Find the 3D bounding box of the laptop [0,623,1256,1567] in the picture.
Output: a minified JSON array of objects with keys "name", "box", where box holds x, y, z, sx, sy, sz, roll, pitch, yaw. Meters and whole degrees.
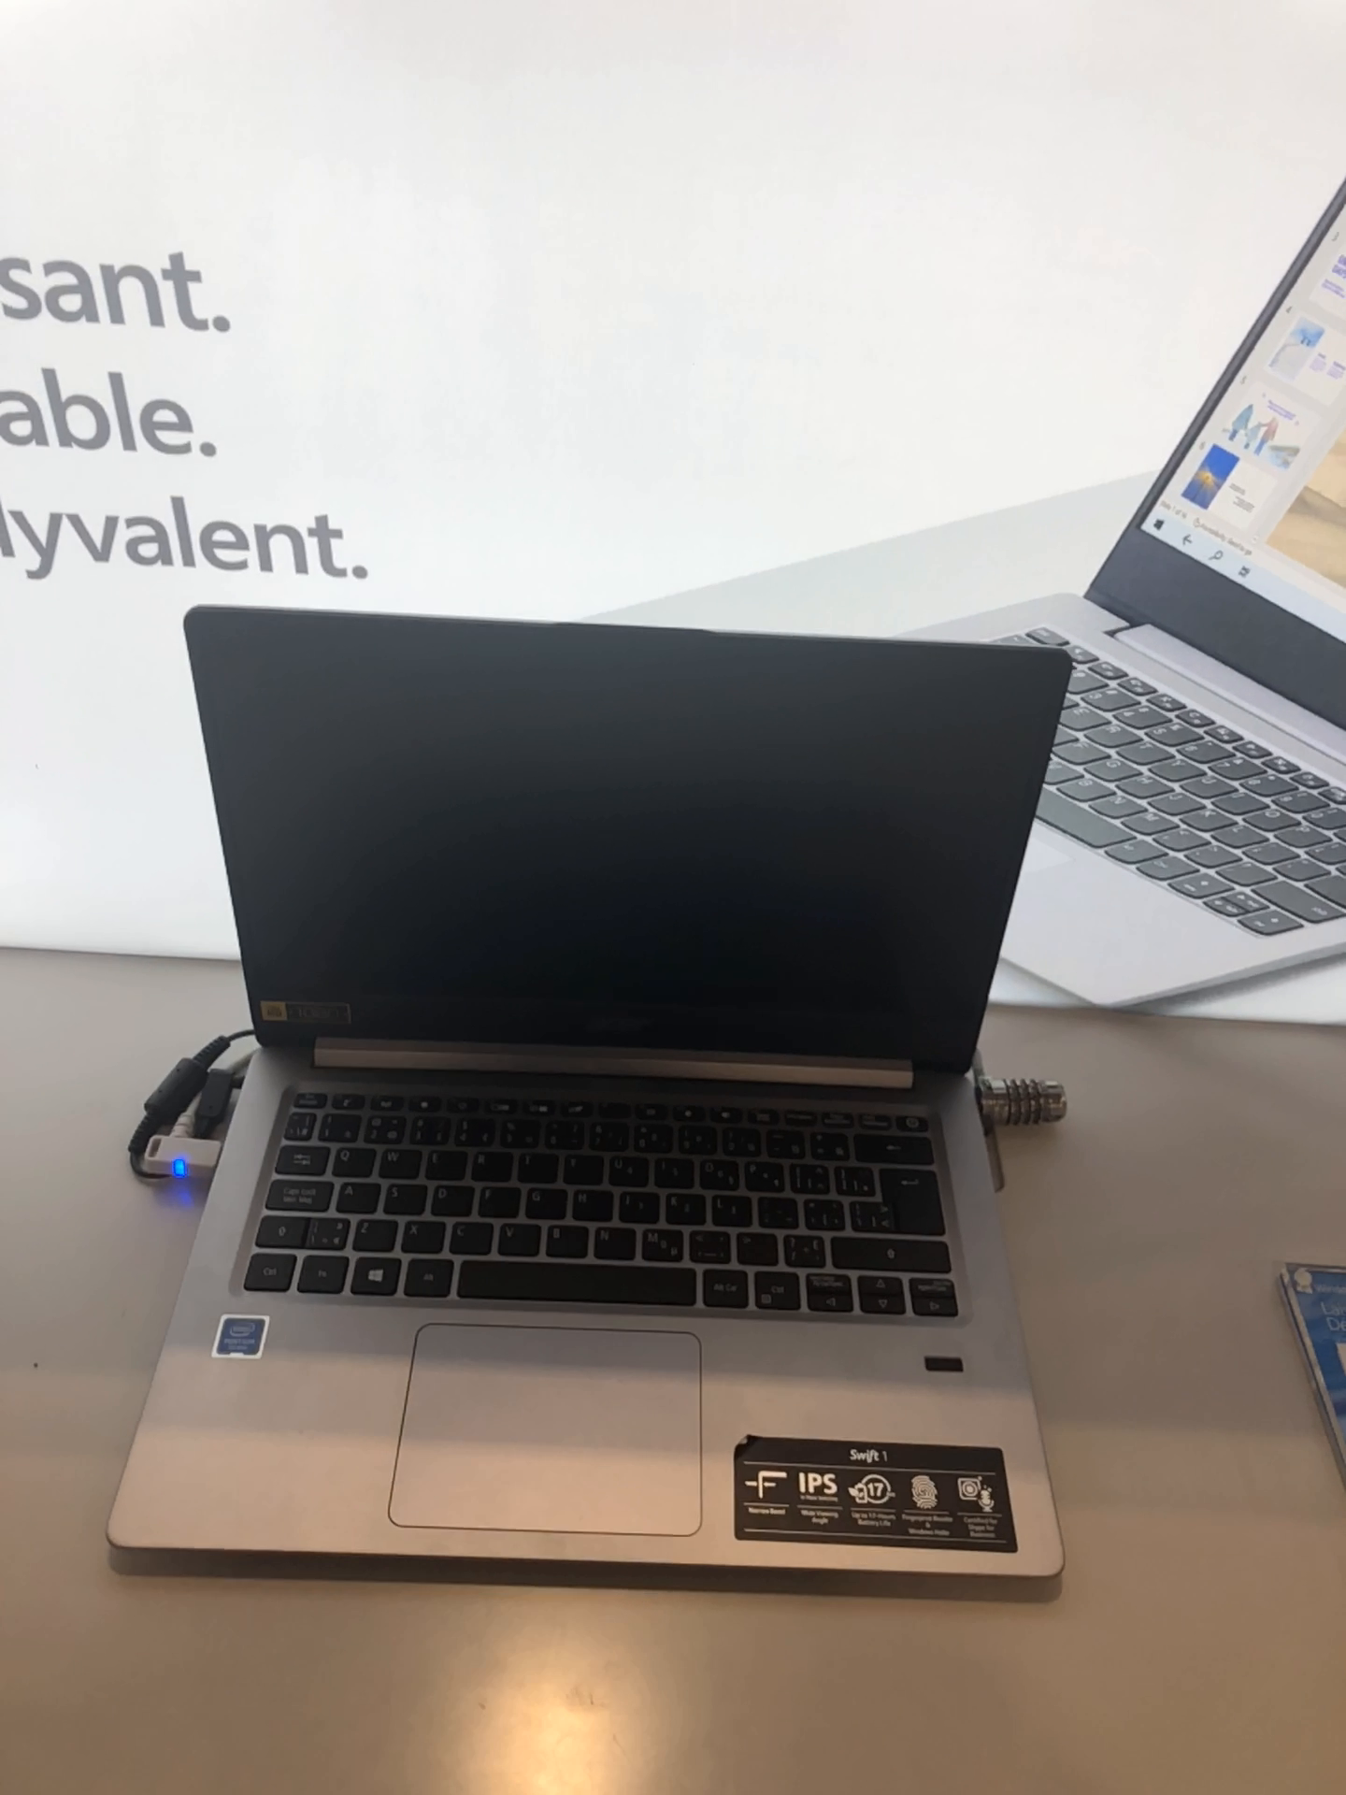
[{"name":"laptop","box":[-0.019,0.063,0.509,0.311,0.210,0.227,3,40,-1]}]
